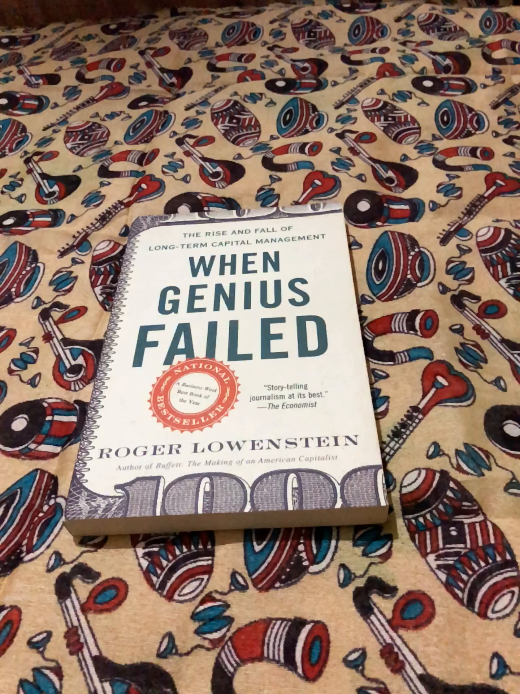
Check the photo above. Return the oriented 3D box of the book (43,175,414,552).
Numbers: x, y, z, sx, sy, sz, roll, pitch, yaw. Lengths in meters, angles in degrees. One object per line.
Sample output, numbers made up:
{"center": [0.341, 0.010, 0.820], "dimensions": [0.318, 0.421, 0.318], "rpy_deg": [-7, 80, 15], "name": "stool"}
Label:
{"center": [-0.012, -0.010, 0.301], "dimensions": [0.140, 0.030, 0.221], "rpy_deg": [-2, 50, 3], "name": "book"}
